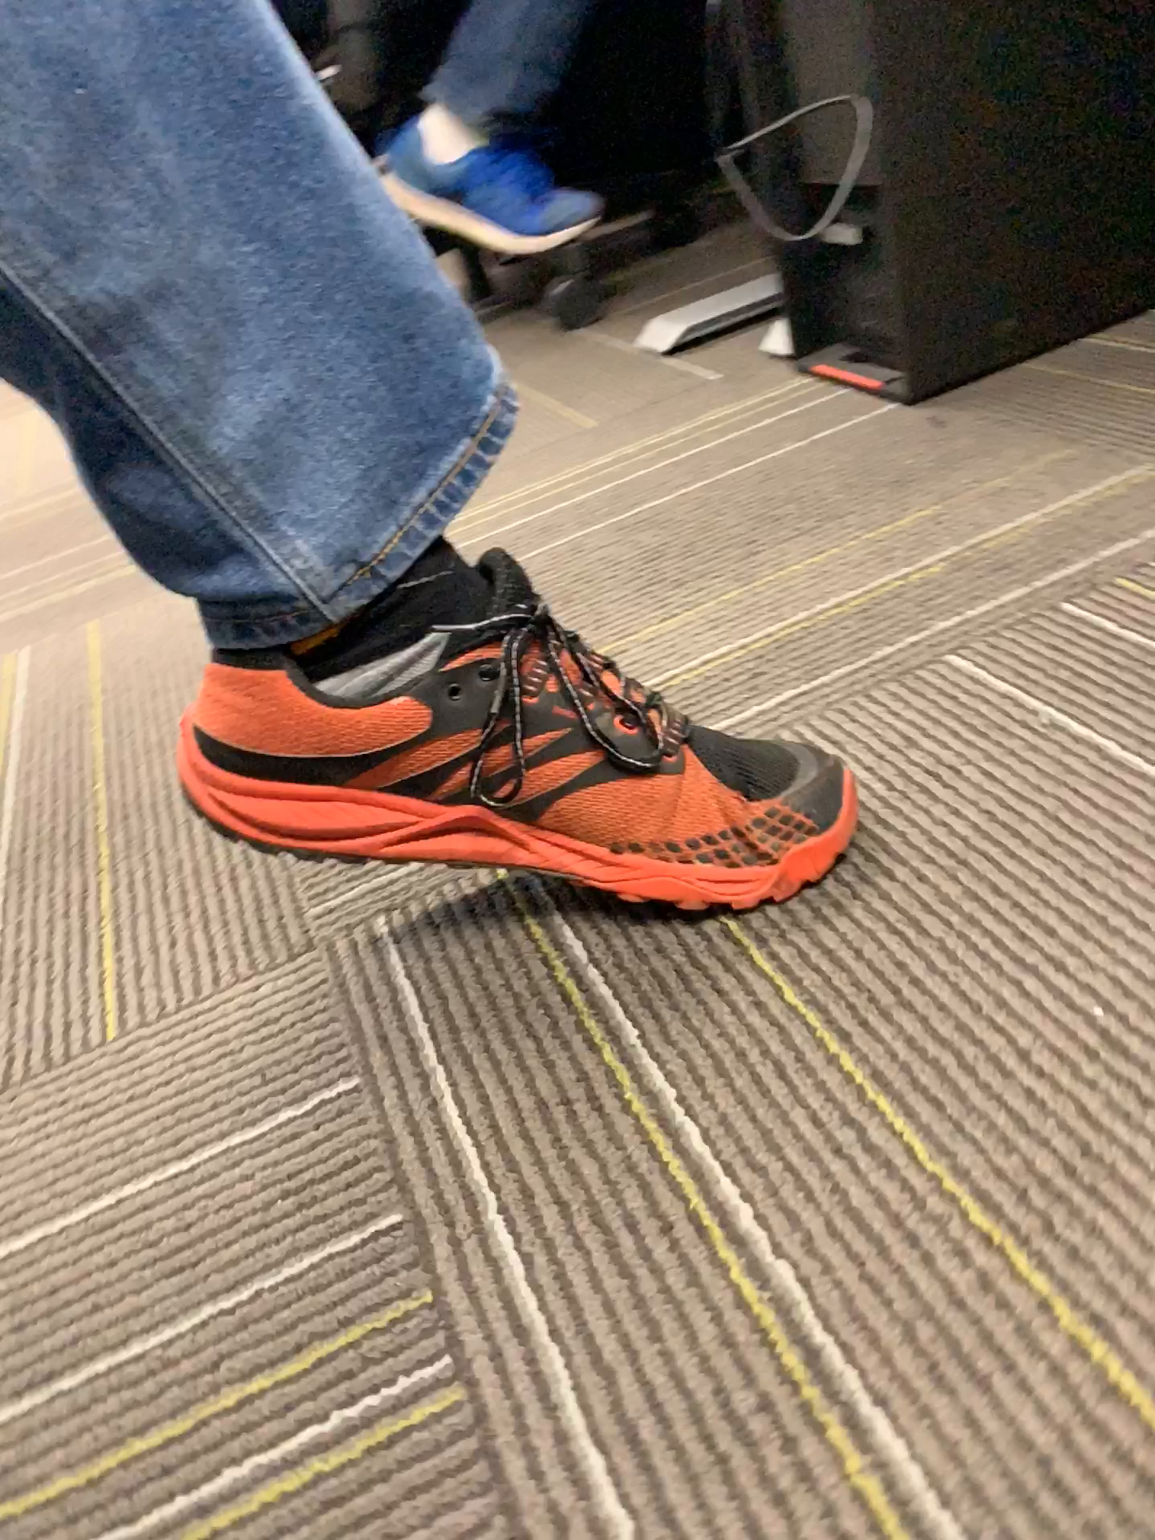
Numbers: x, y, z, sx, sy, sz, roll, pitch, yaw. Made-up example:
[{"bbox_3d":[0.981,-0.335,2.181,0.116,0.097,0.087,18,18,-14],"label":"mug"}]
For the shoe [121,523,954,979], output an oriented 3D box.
[{"bbox_3d":[-0.020,-0.013,0.524,0.314,0.106,0.127,10,25,-4],"label":"shoe"}]
